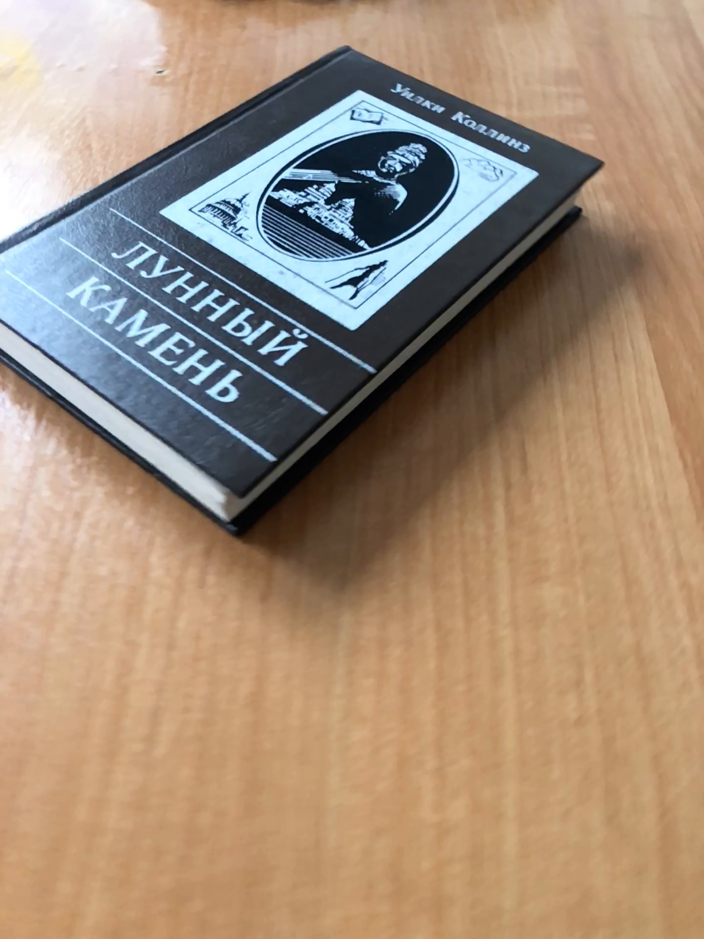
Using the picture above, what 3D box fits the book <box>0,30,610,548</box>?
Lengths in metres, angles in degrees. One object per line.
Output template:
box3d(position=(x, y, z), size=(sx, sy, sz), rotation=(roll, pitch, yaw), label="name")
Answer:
box3d(position=(-0.019, -0.084, 0.279), size=(0.133, 0.032, 0.199), rotation=(34, 60, 21), label="book")
